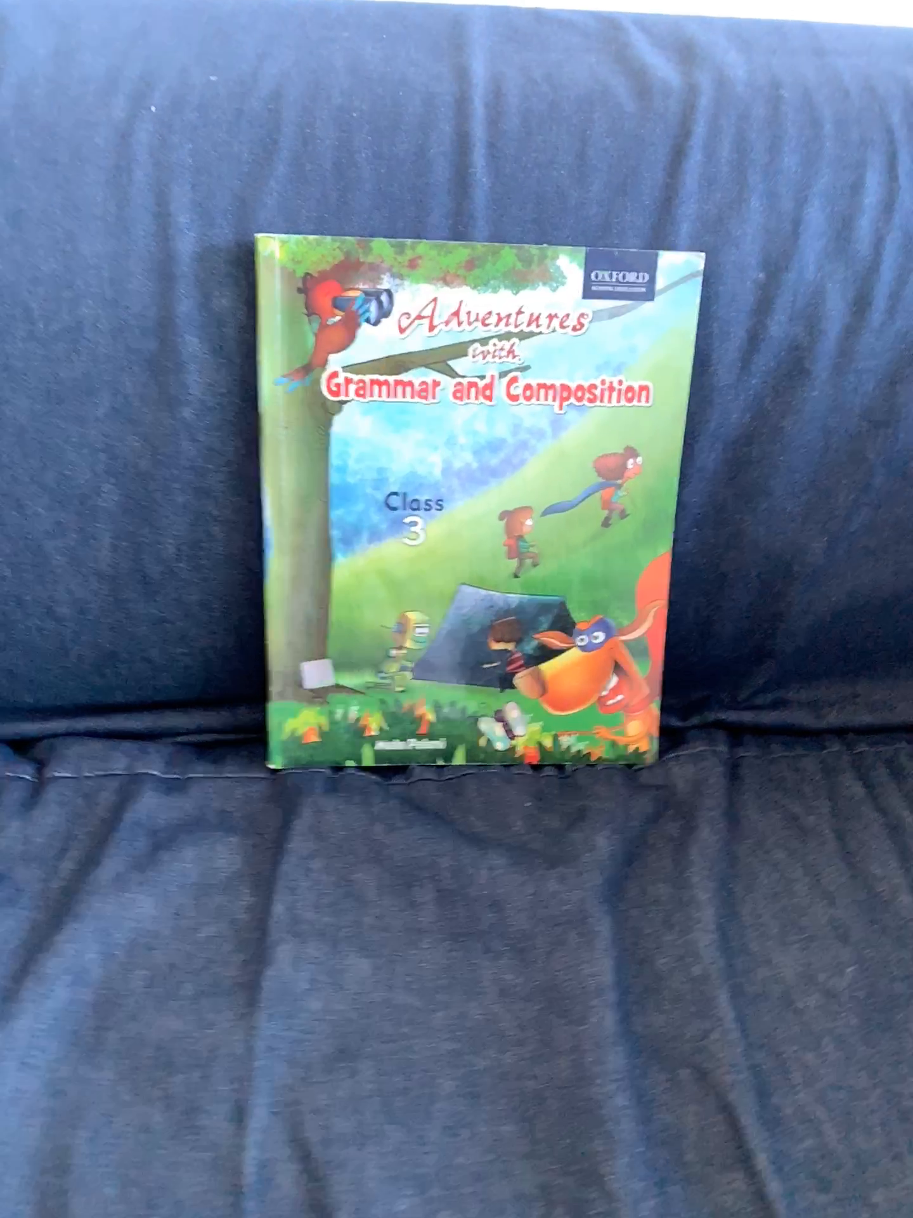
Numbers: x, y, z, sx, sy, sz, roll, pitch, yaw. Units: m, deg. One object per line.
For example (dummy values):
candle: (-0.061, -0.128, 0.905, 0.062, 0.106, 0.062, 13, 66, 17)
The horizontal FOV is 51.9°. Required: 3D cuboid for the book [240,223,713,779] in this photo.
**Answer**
book: (0.006, -0.044, 0.472, 0.212, 0.269, 0.030, 1, 17, -4)
